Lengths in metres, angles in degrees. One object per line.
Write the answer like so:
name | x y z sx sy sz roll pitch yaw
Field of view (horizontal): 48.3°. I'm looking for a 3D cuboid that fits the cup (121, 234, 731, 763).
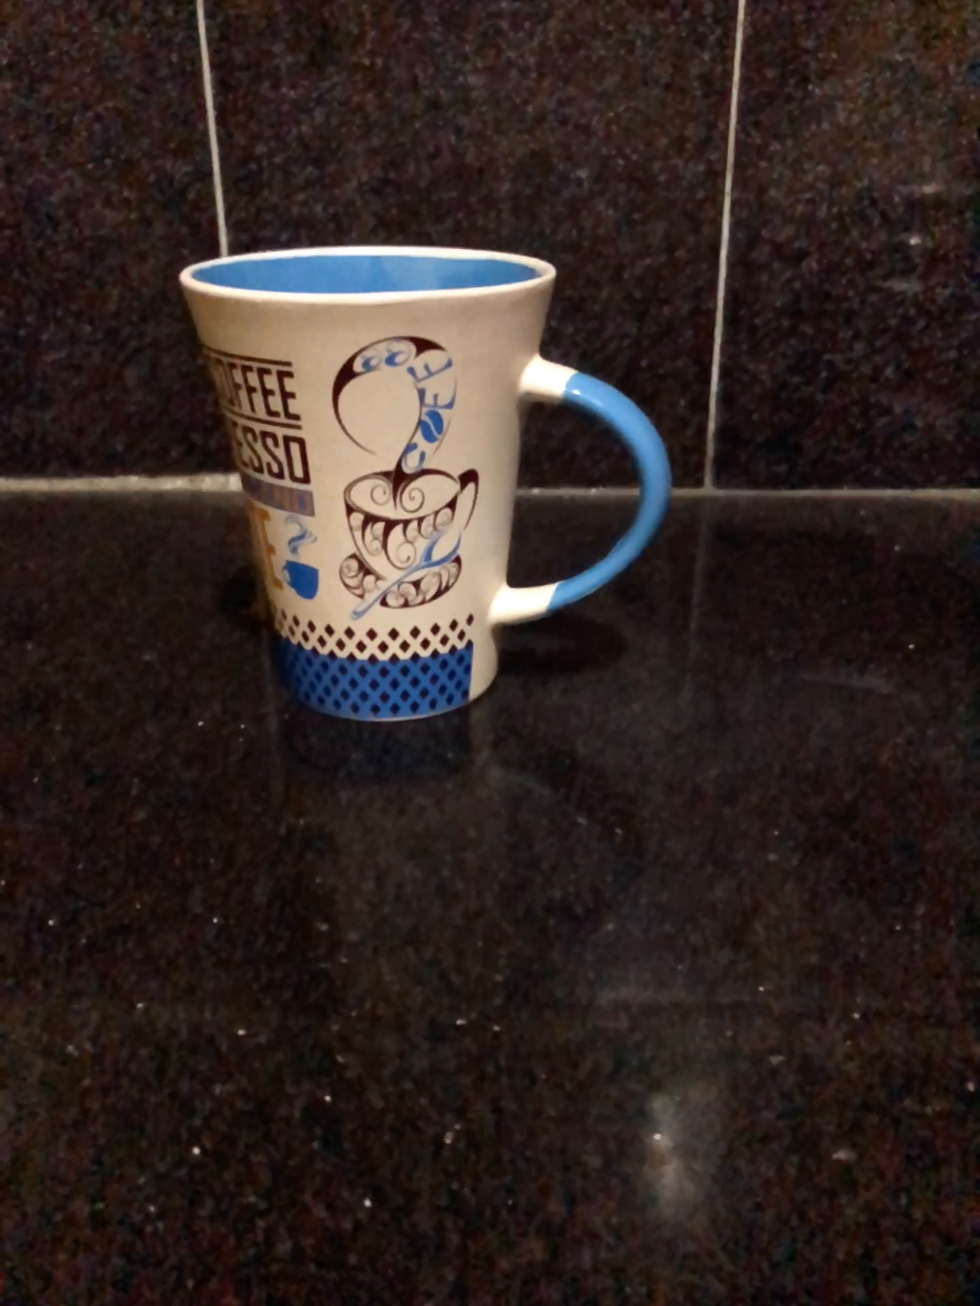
cup | -0.008 -0.048 0.292 0.130 0.109 0.091 6 26 11
